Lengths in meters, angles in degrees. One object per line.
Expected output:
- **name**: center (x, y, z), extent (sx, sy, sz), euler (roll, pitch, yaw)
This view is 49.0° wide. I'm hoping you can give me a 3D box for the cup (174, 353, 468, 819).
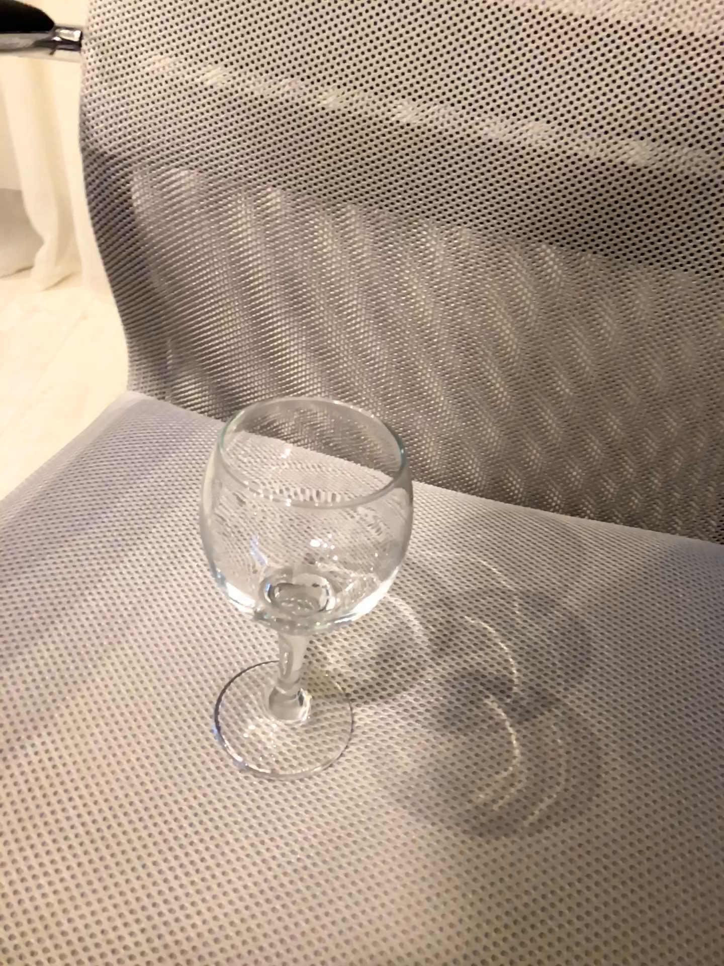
- **cup**: center (-0.023, 0.048, 0.333), extent (0.080, 0.172, 0.089), euler (-10, 44, -16)
